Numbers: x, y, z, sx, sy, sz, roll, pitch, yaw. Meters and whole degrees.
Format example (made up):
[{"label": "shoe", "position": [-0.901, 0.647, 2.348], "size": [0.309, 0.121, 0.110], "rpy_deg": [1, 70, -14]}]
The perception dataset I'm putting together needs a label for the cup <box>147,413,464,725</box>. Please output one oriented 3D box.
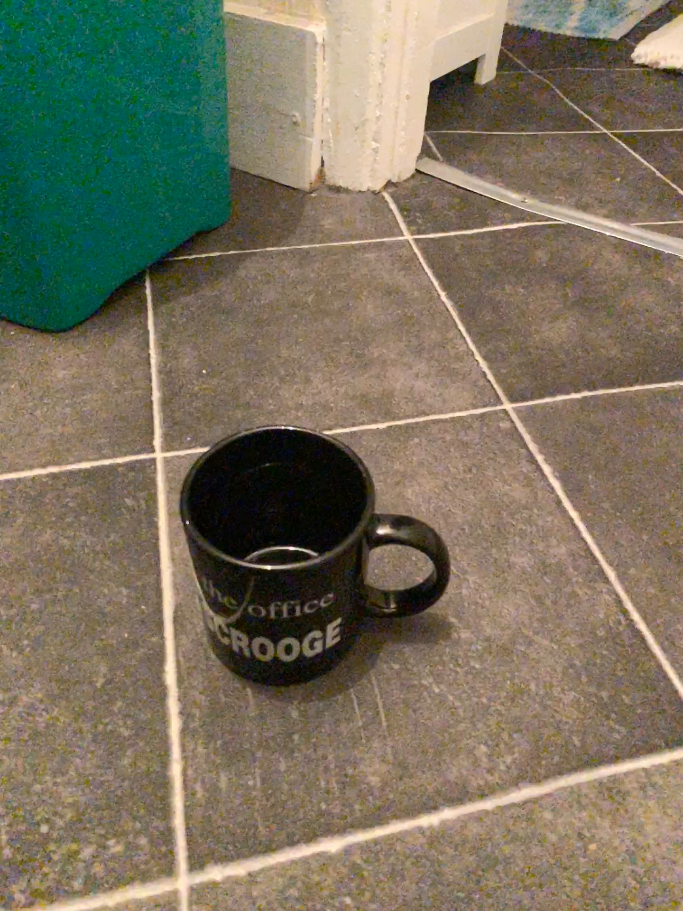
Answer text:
[{"label": "cup", "position": [-0.013, 0.055, 0.325], "size": [0.117, 0.114, 0.081], "rpy_deg": [5, 45, 2]}]
